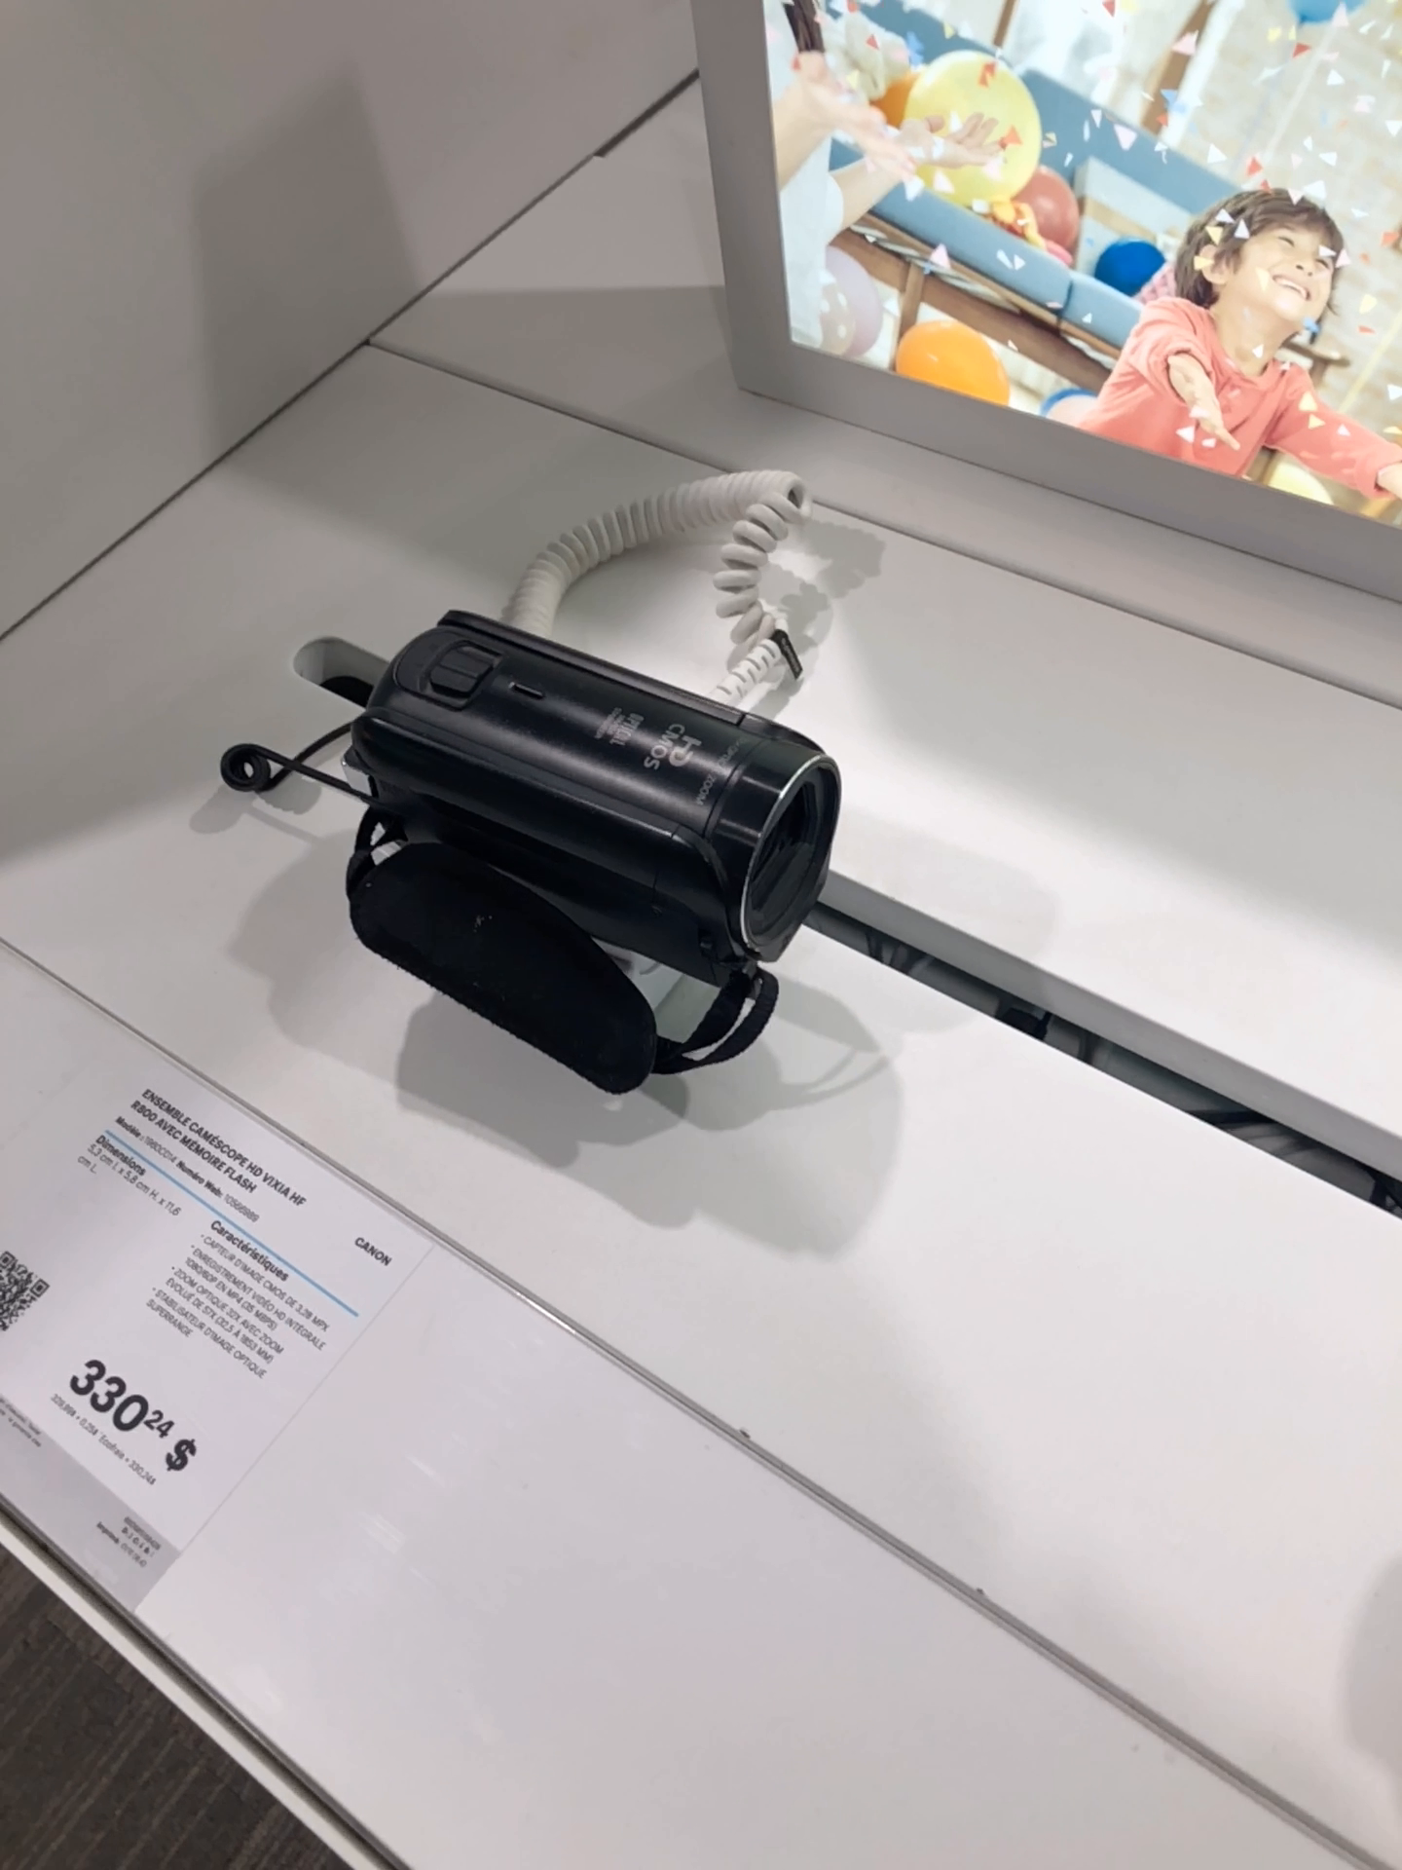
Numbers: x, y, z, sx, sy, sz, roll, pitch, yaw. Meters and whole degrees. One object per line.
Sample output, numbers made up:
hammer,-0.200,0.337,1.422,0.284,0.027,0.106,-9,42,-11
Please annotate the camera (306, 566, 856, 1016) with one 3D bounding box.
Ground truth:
camera,-0.027,-0.036,0.361,0.113,0.050,0.050,24,60,24
